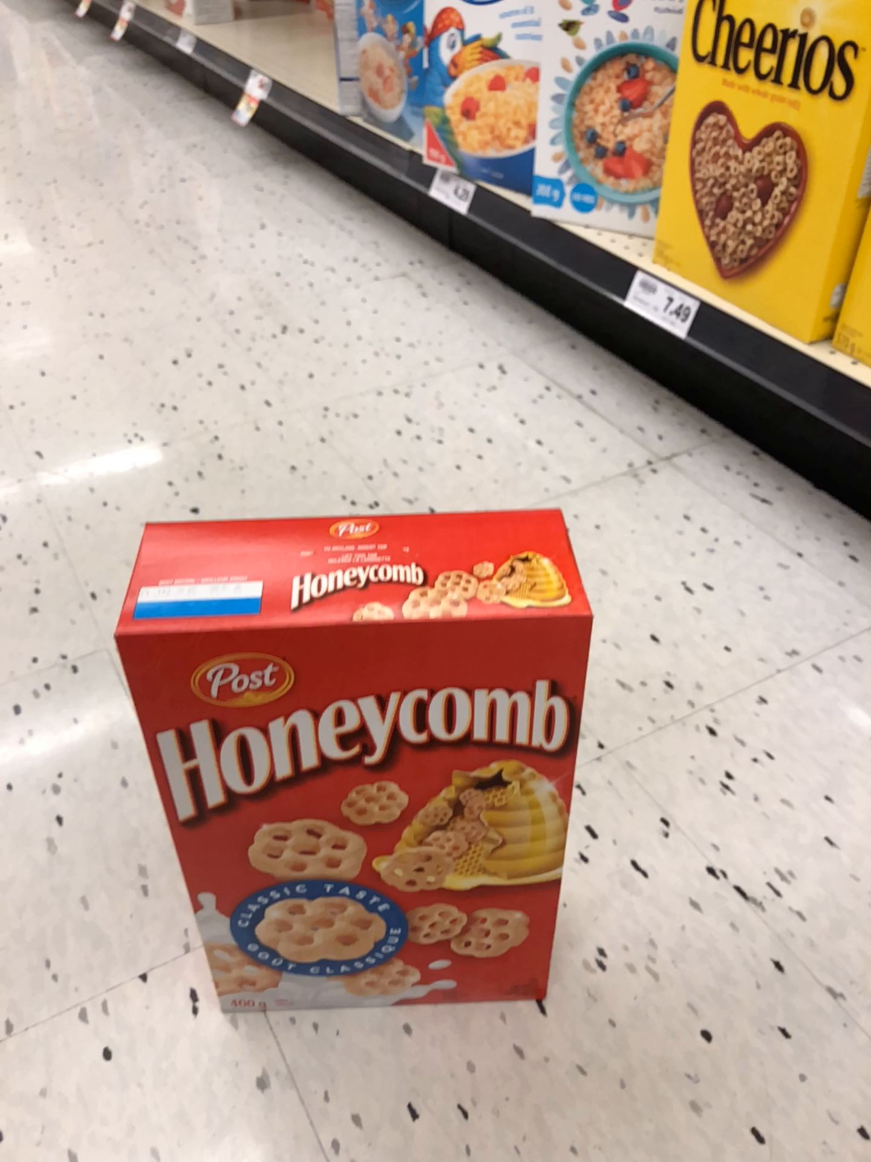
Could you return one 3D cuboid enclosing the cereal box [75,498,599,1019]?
[{"bbox_3d":[-0.038,0.106,0.492,0.200,0.298,0.081,-1,39,-2],"label":"cereal box"}]
